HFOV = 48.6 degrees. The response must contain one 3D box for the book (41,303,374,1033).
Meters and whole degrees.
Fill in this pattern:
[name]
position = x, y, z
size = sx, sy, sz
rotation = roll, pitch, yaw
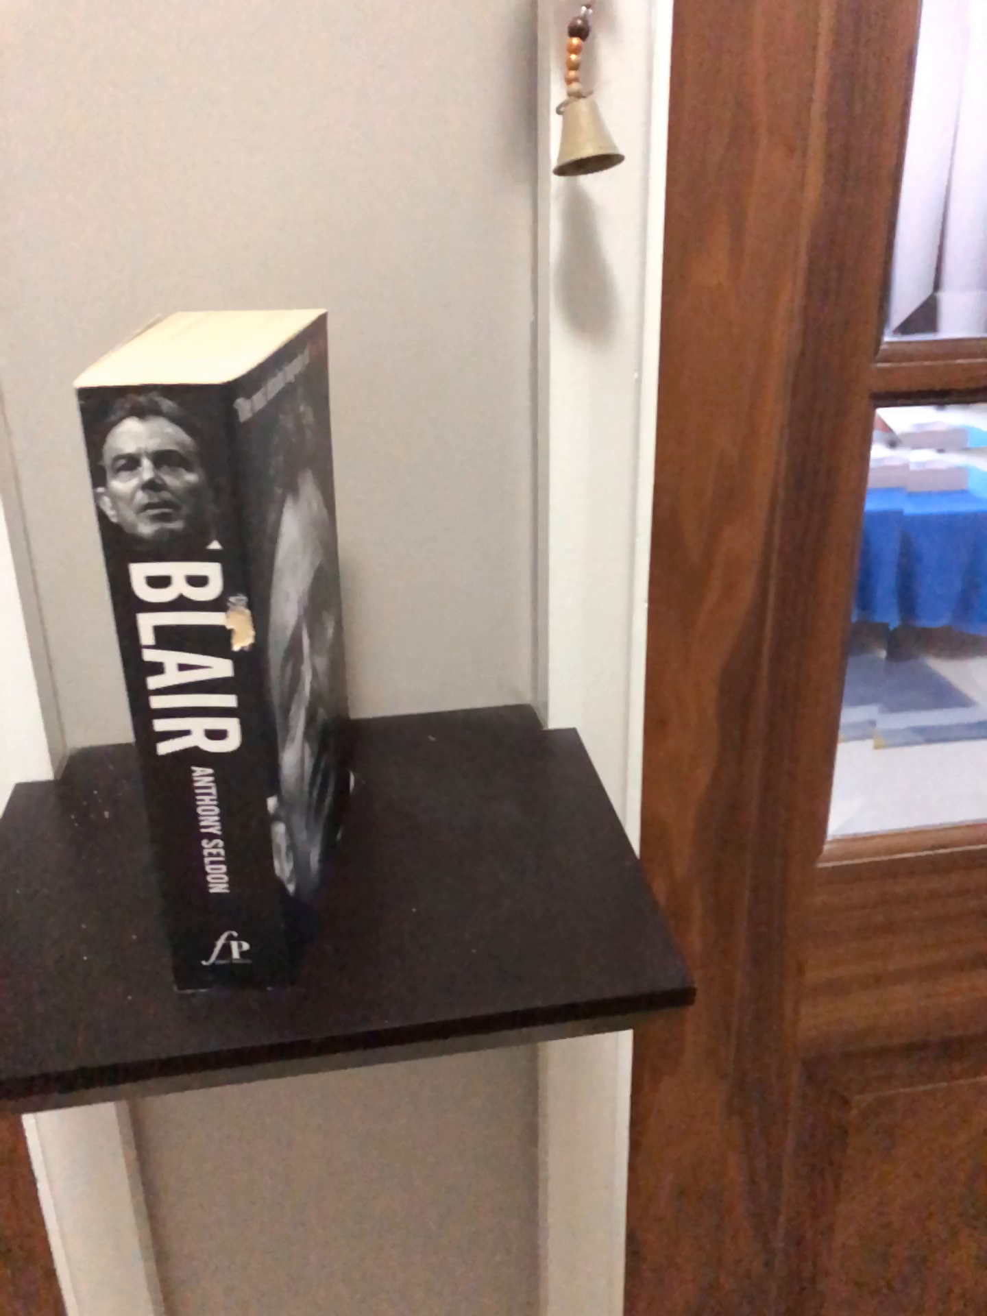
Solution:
[book]
position = -0.084, -0.010, 0.392
size = 0.060, 0.209, 0.171
rotation = -2, 22, -2
